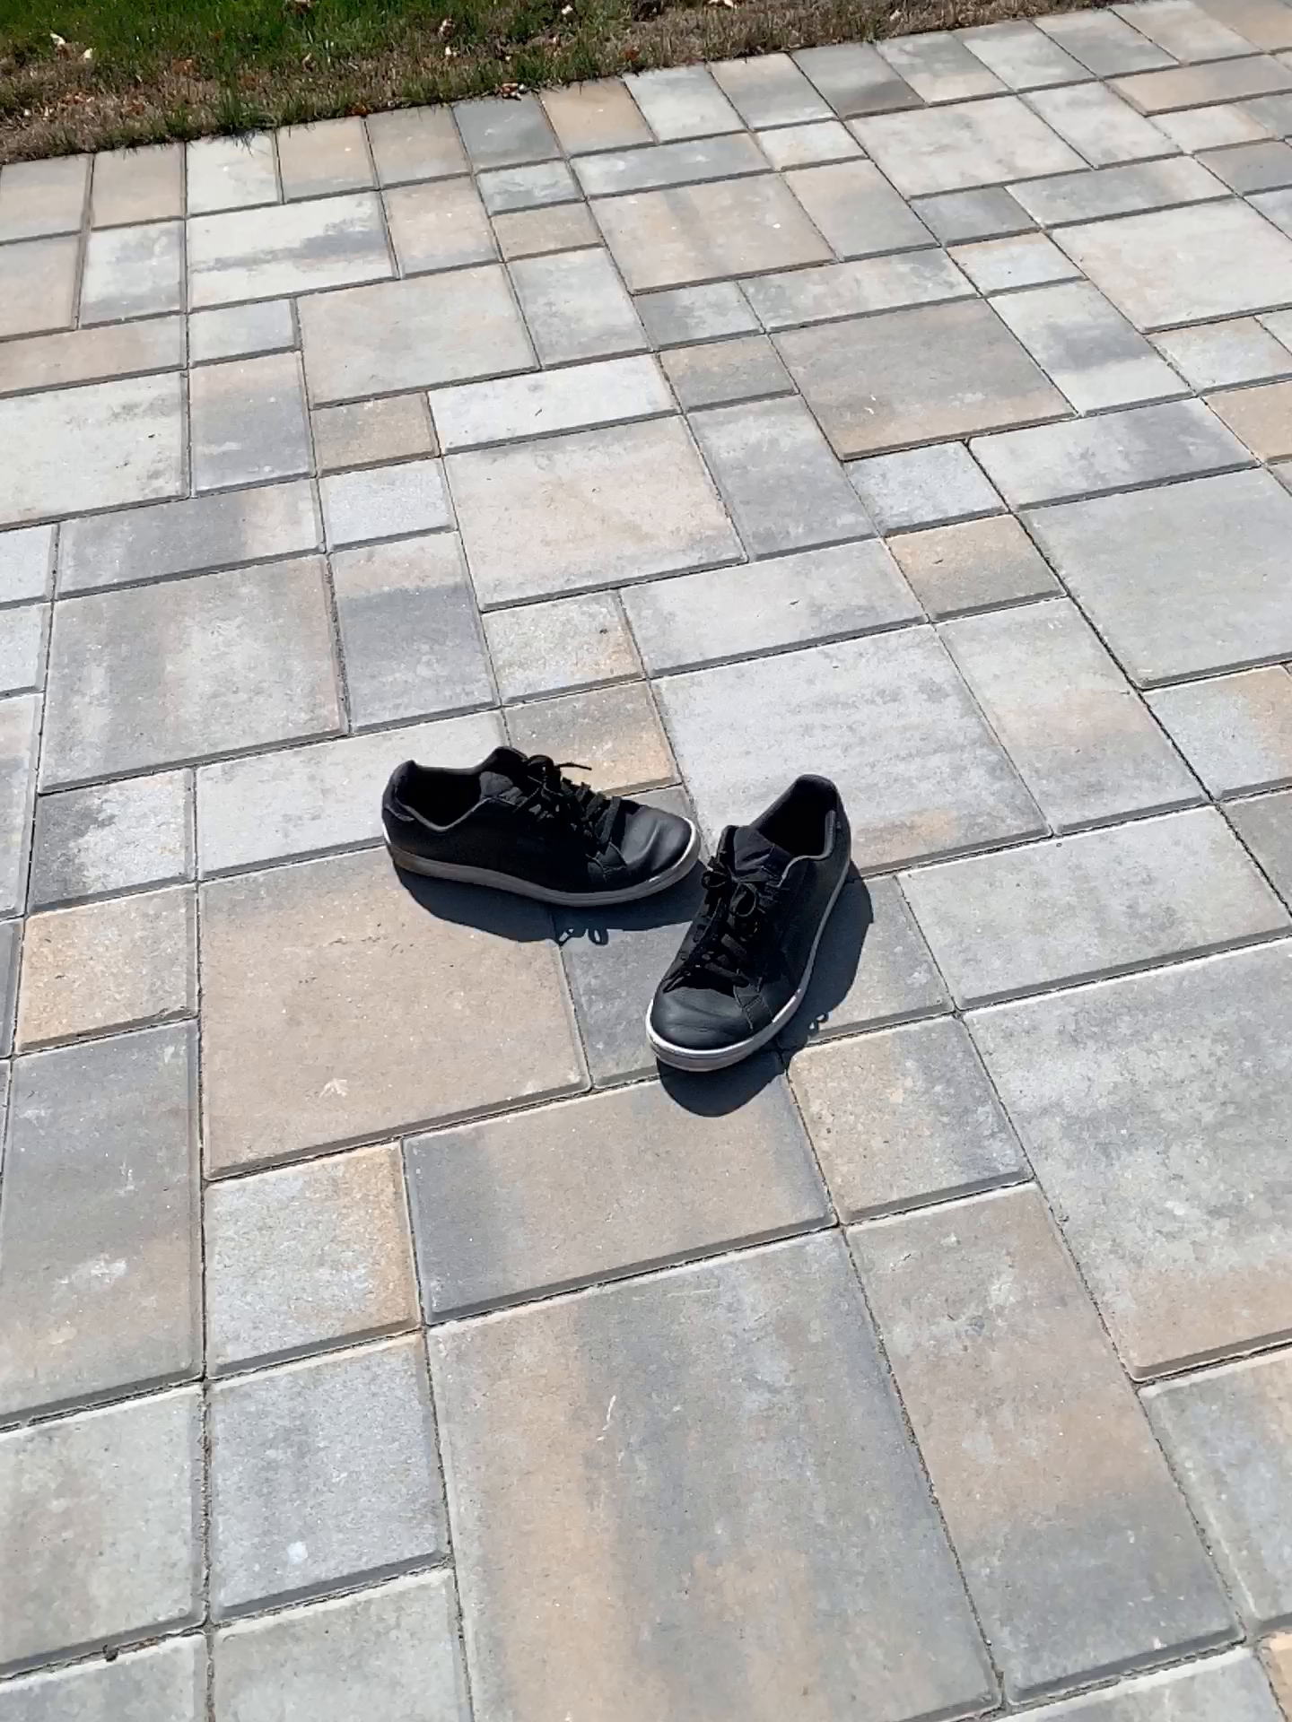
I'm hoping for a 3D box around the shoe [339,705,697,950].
[{"bbox_3d":[-0.094,-0.028,1.045,0.250,0.110,0.110,10,51,11],"label":"shoe"}]

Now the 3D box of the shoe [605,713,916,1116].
[{"bbox_3d":[0.090,0.031,0.975,0.110,0.100,0.281,22,54,20],"label":"shoe"}]
